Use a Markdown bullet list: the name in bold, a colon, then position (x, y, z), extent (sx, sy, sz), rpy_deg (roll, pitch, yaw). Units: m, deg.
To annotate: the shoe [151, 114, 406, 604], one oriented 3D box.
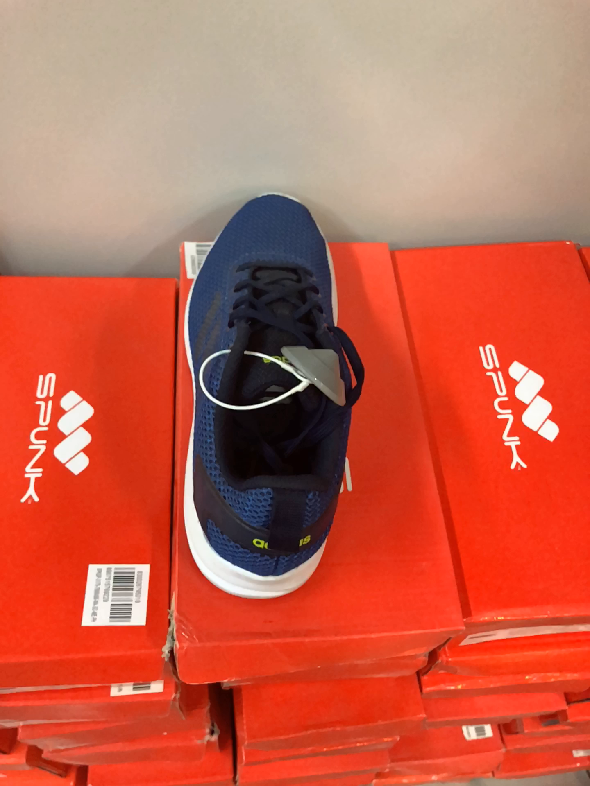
- **shoe**: position (-0.019, -0.040, 0.429), extent (0.113, 0.114, 0.317), rpy_deg (0, 53, -5)
